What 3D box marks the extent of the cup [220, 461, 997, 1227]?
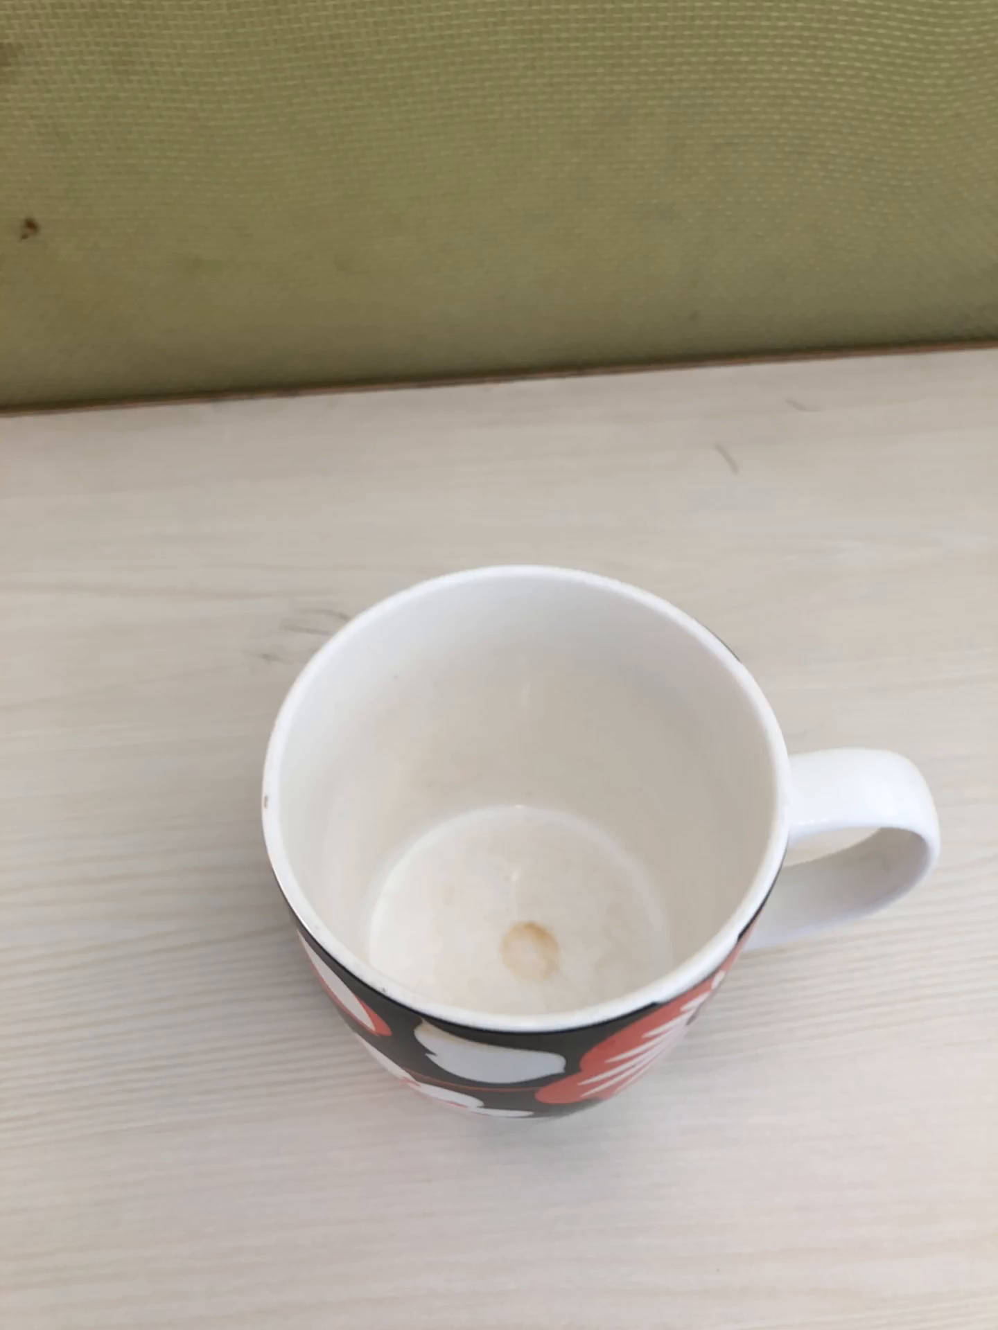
[{"bbox_3d":[0.021,0.035,0.215,0.120,0.090,0.090,-12,55,-9],"label":"cup"}]
